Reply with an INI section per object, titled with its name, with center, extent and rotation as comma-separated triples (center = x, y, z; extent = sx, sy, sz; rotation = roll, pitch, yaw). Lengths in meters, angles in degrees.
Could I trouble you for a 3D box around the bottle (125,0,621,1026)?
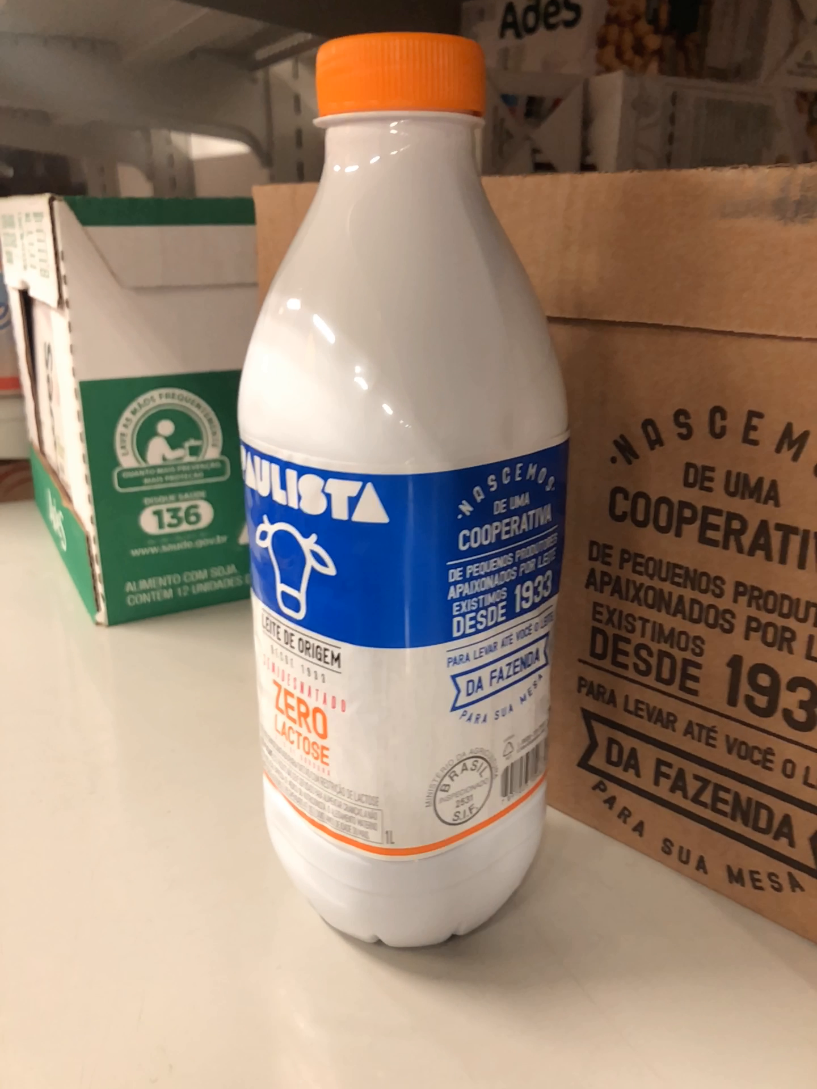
[bottle]
center = -0.008, -0.008, 0.243
extent = 0.080, 0.229, 0.080
rotation = -1, 19, 0
